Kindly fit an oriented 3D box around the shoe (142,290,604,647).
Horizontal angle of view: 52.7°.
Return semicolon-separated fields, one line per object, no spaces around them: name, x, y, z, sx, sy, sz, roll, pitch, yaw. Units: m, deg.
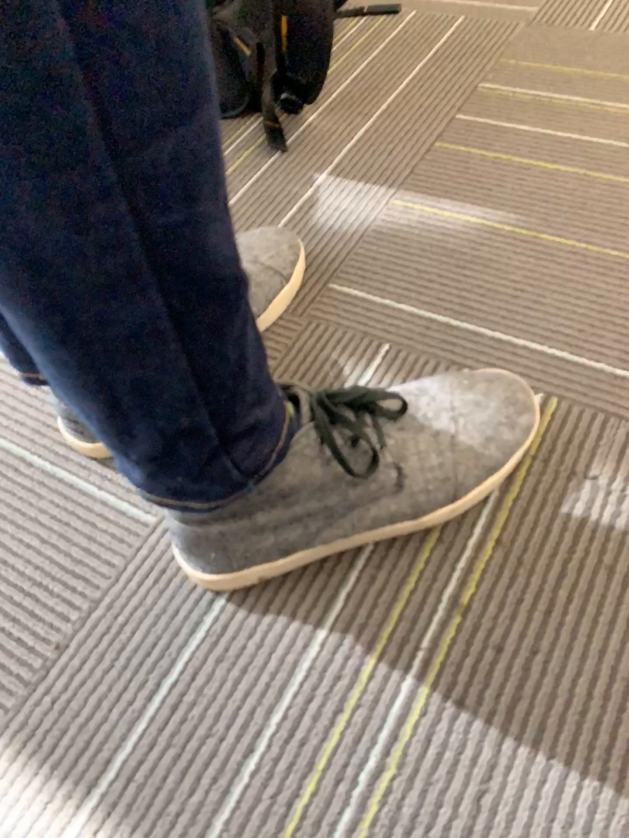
shoe;0.041;0.031;0.485;0.299;0.087;0.134;-25;54;-8

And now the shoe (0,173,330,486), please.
shoe;-0.132;-0.100;0.609;0.134;0.087;0.301;28;63;26
